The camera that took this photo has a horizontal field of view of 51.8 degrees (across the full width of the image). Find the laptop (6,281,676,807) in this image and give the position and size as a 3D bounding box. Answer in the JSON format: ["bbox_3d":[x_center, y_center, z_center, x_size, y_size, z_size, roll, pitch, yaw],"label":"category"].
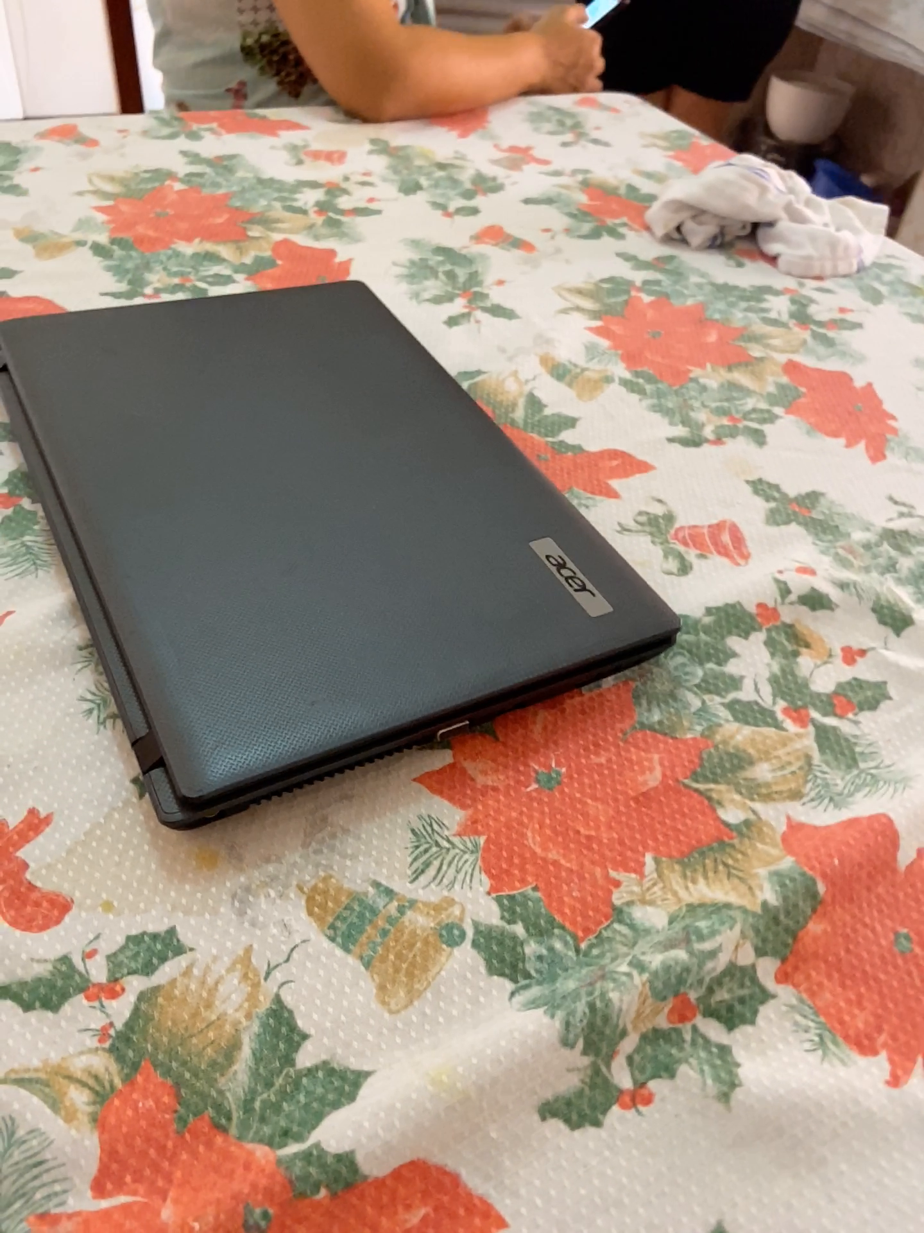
[{"bbox_3d":[-0.083,-0.079,0.491,0.223,0.001,0.352,-17,50,-24],"label":"laptop"}]
